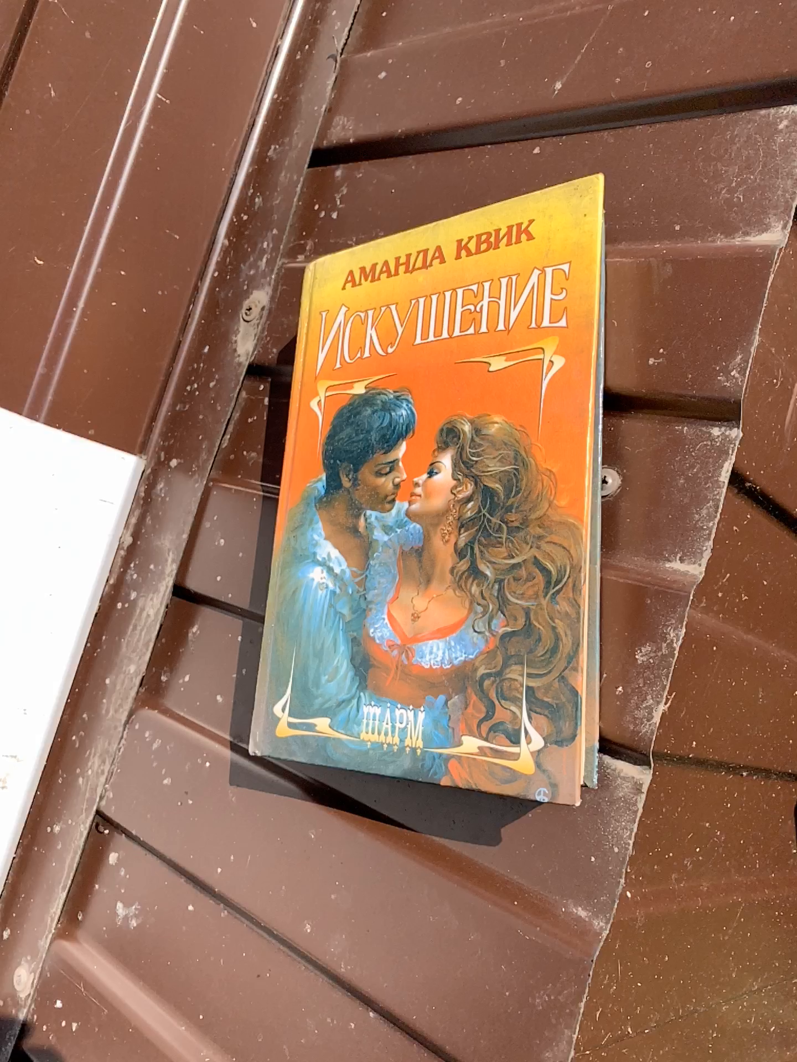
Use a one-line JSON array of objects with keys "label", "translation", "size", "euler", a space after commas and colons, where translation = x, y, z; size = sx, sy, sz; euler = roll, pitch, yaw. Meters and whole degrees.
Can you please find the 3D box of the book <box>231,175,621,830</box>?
[{"label": "book", "translation": [0.007, -0.011, 0.294], "size": [0.135, 0.024, 0.200], "euler": [-2, 78, 36]}]
